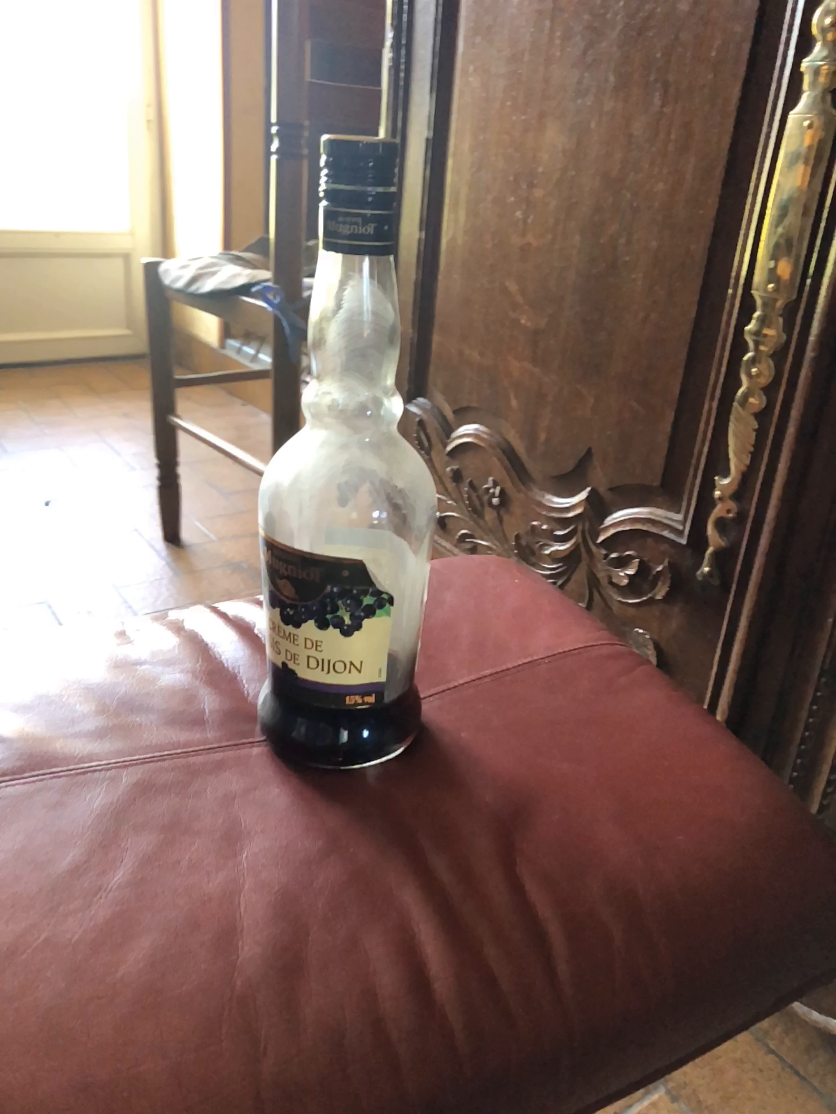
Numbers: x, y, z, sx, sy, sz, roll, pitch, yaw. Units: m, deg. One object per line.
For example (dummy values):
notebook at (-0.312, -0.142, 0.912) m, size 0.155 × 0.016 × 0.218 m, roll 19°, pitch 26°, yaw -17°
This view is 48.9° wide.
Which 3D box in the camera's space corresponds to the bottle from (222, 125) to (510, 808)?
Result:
bottle at (-0.028, -0.037, 0.414) m, size 0.080 × 0.278 × 0.081 m, roll 4°, pitch 23°, yaw -2°
